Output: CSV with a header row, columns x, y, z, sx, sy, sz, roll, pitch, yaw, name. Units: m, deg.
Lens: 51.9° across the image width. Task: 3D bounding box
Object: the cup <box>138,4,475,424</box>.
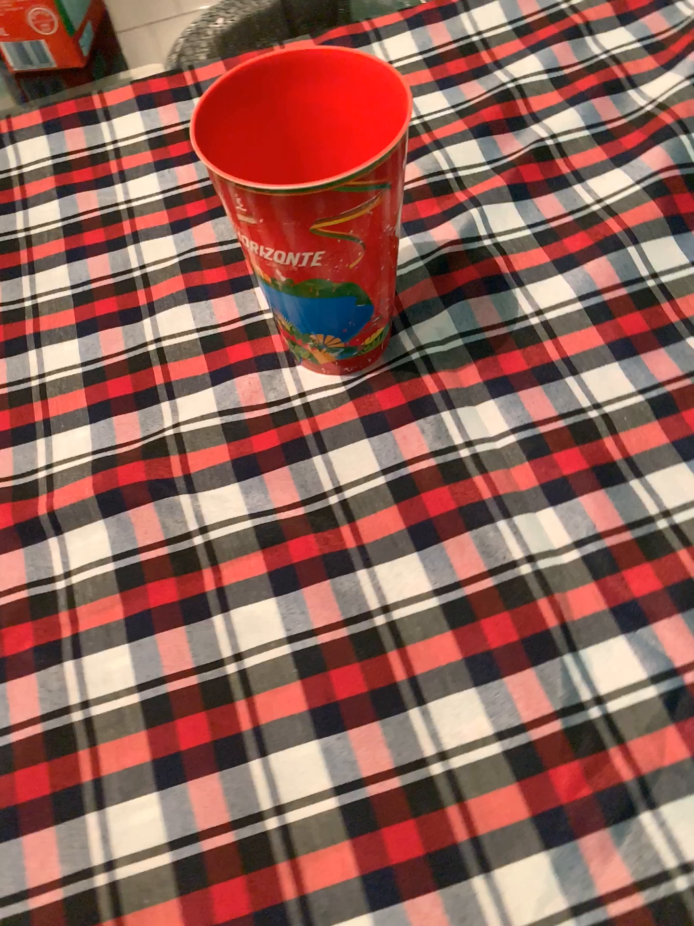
x,y,z,sx,sy,sz,roll,pitch,yaw,name
-0.013,-0.113,0.342,0.100,0.130,0.100,-3,59,5,cup
